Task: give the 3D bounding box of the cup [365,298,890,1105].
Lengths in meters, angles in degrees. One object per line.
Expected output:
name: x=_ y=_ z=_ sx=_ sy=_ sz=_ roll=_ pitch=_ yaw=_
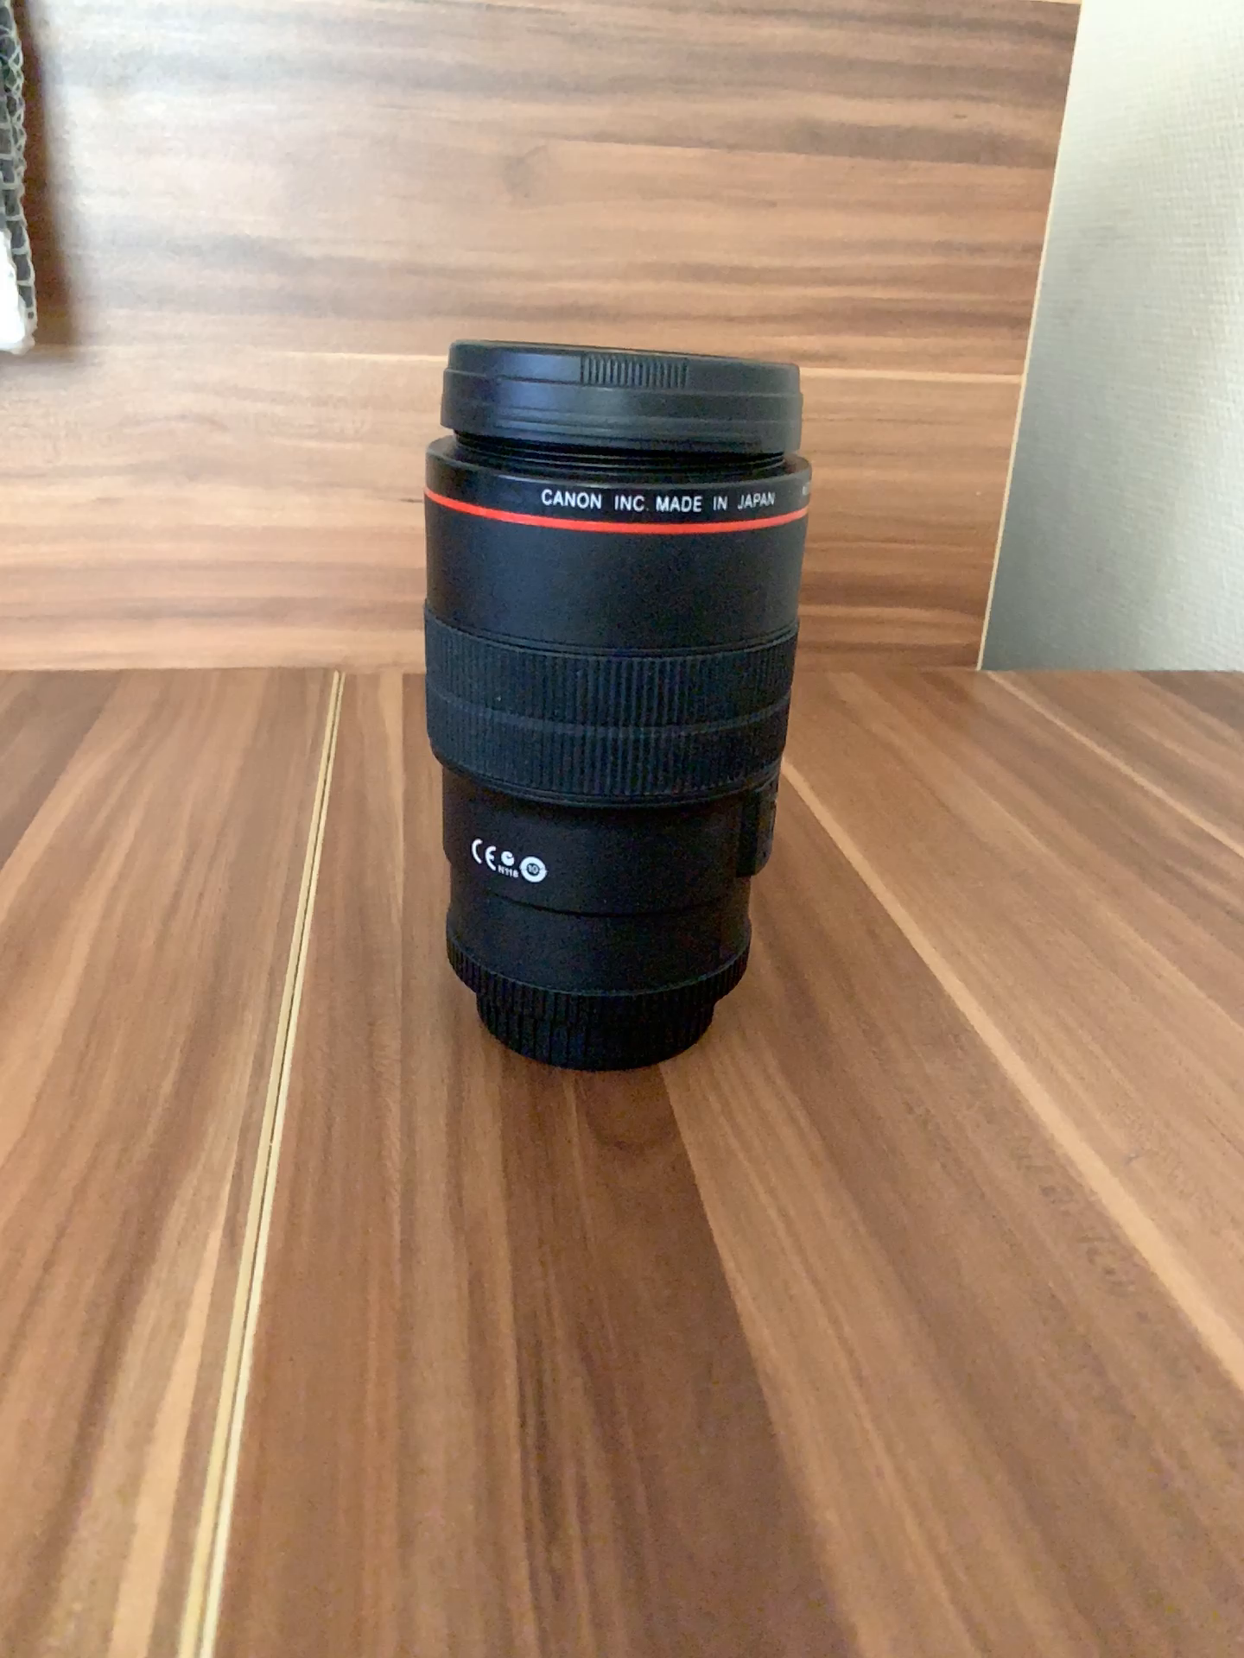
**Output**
cup: x=-0.006 y=-0.031 z=0.265 sx=0.070 sy=0.139 sz=0.080 roll=-8 pitch=25 yaw=-24
